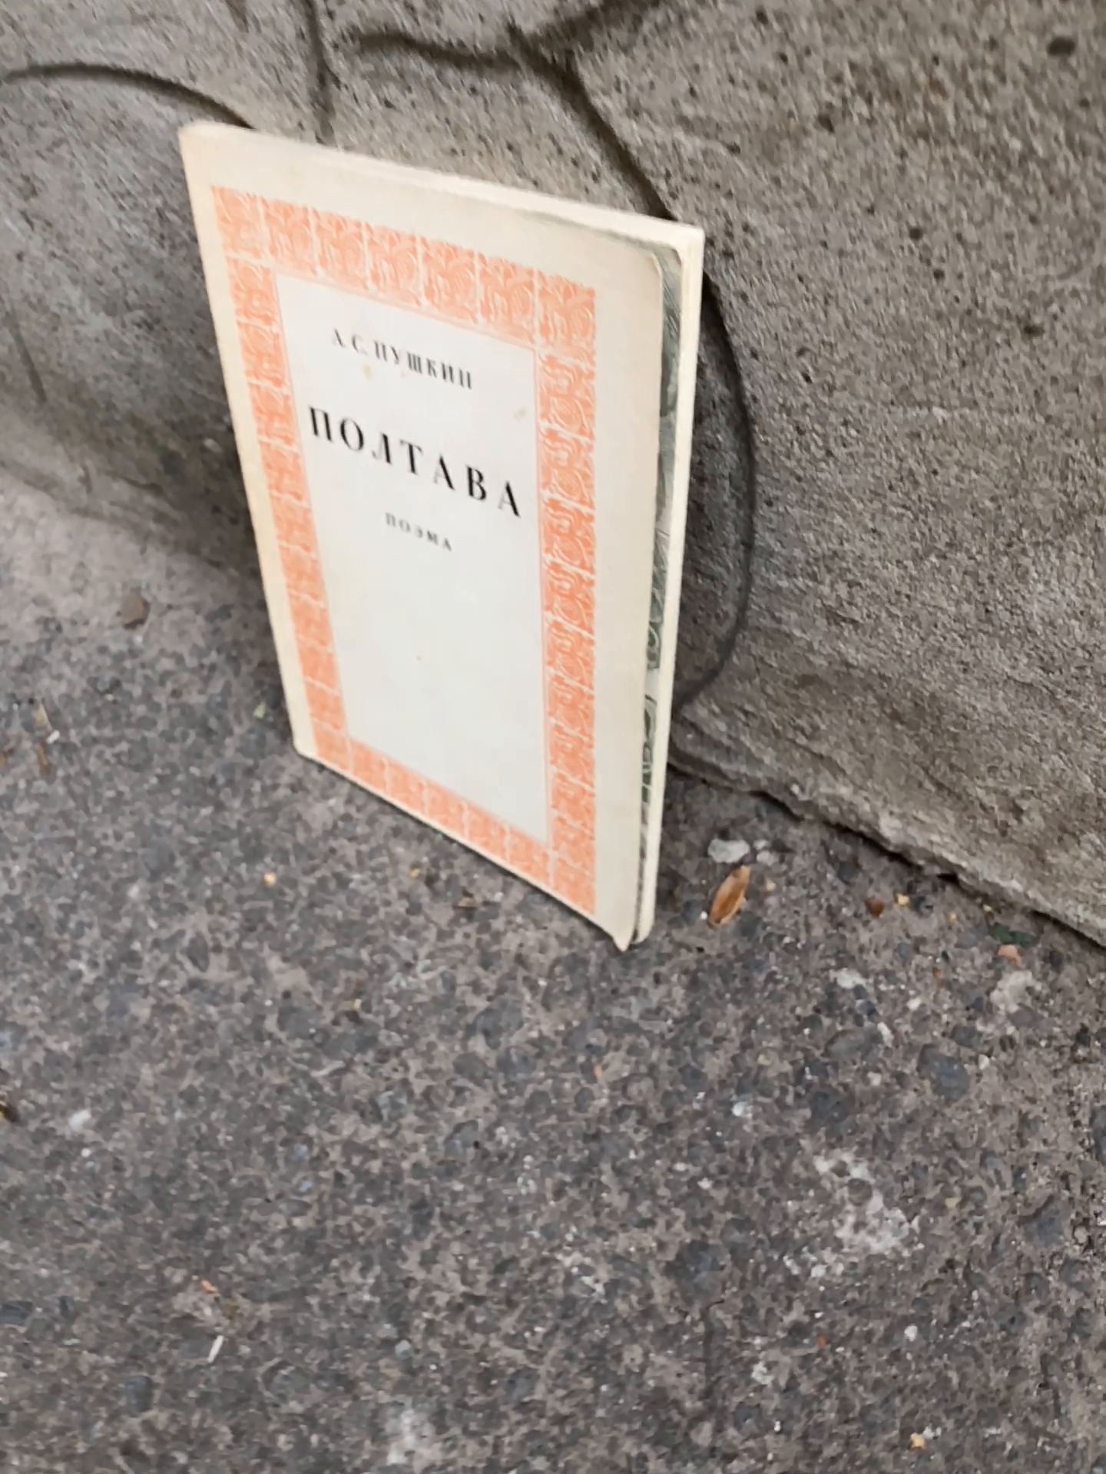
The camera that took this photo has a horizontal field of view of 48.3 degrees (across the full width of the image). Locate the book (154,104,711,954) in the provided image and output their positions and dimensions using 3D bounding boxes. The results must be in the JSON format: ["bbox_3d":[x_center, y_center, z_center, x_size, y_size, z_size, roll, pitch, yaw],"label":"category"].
[{"bbox_3d":[-0.032,-0.049,0.334,0.150,0.199,0.020,28,48,30],"label":"book"}]
